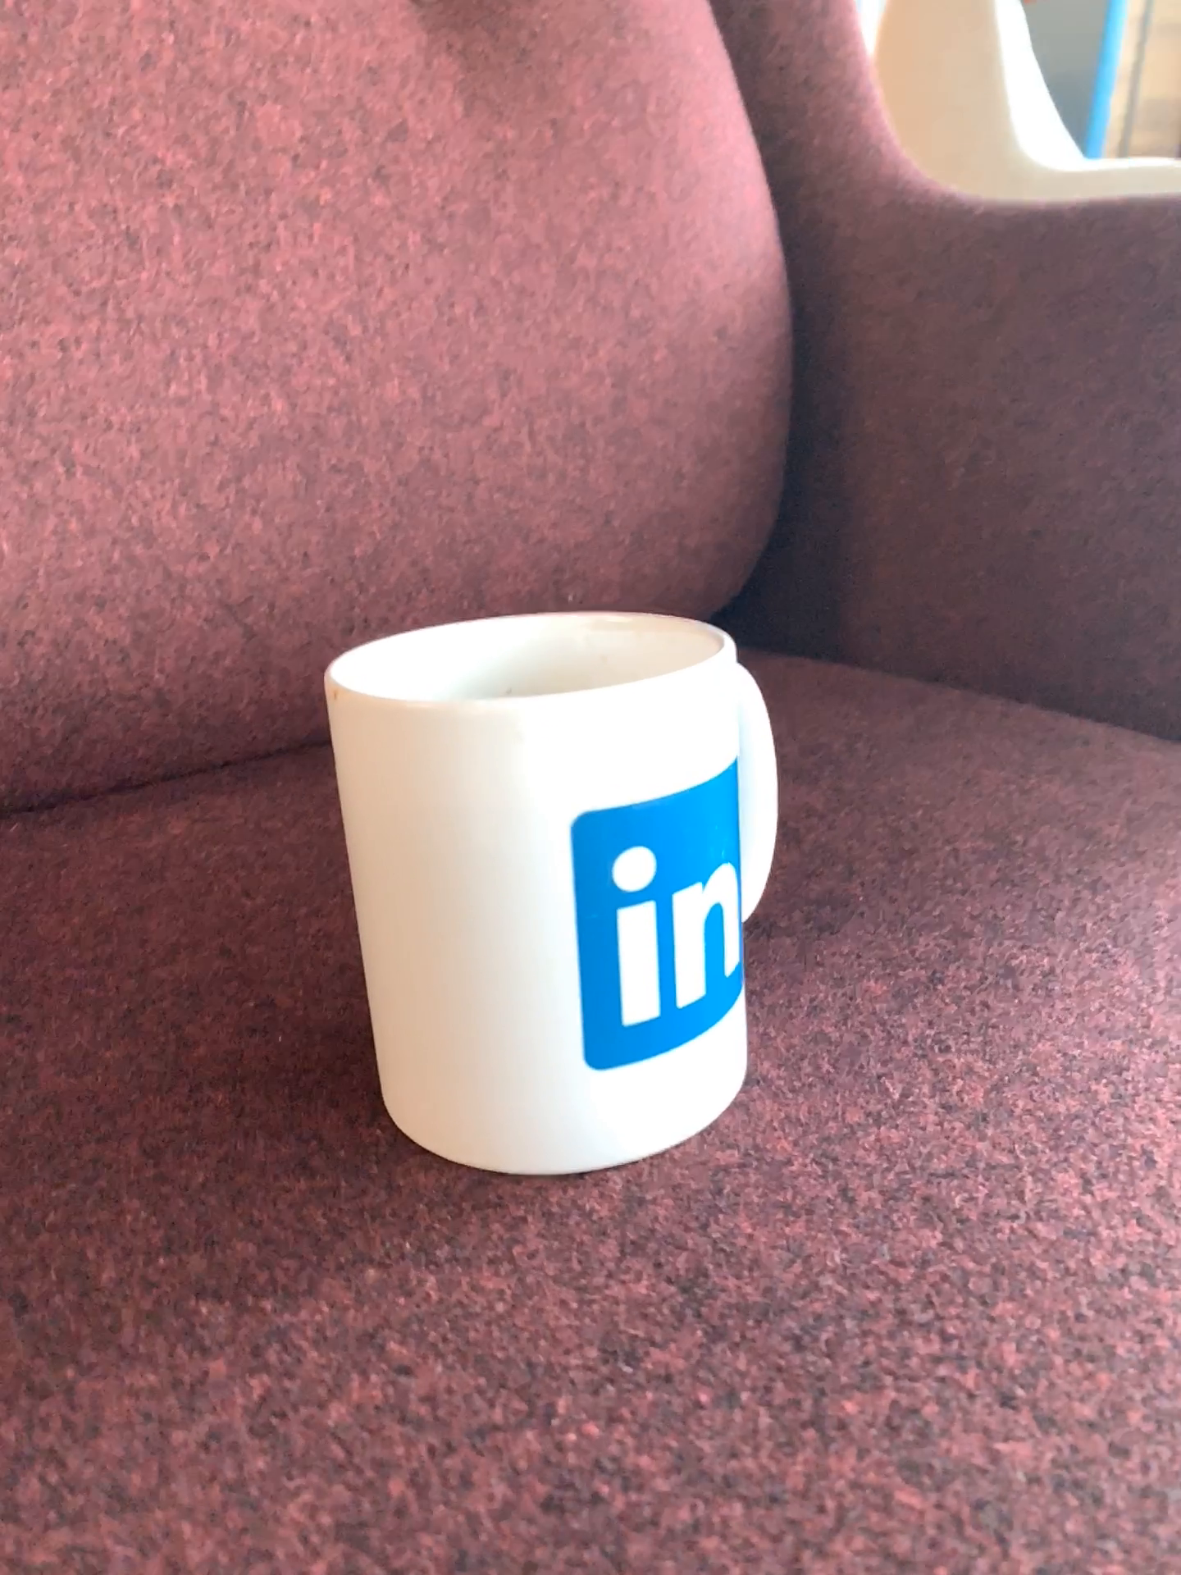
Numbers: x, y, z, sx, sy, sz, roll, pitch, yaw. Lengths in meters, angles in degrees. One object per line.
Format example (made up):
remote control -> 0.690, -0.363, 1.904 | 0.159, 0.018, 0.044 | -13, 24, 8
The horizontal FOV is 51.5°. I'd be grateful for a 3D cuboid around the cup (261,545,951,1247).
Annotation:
cup -> 0.008, 0.009, 0.241 | 0.105, 0.089, 0.075 | -22, 25, -37
